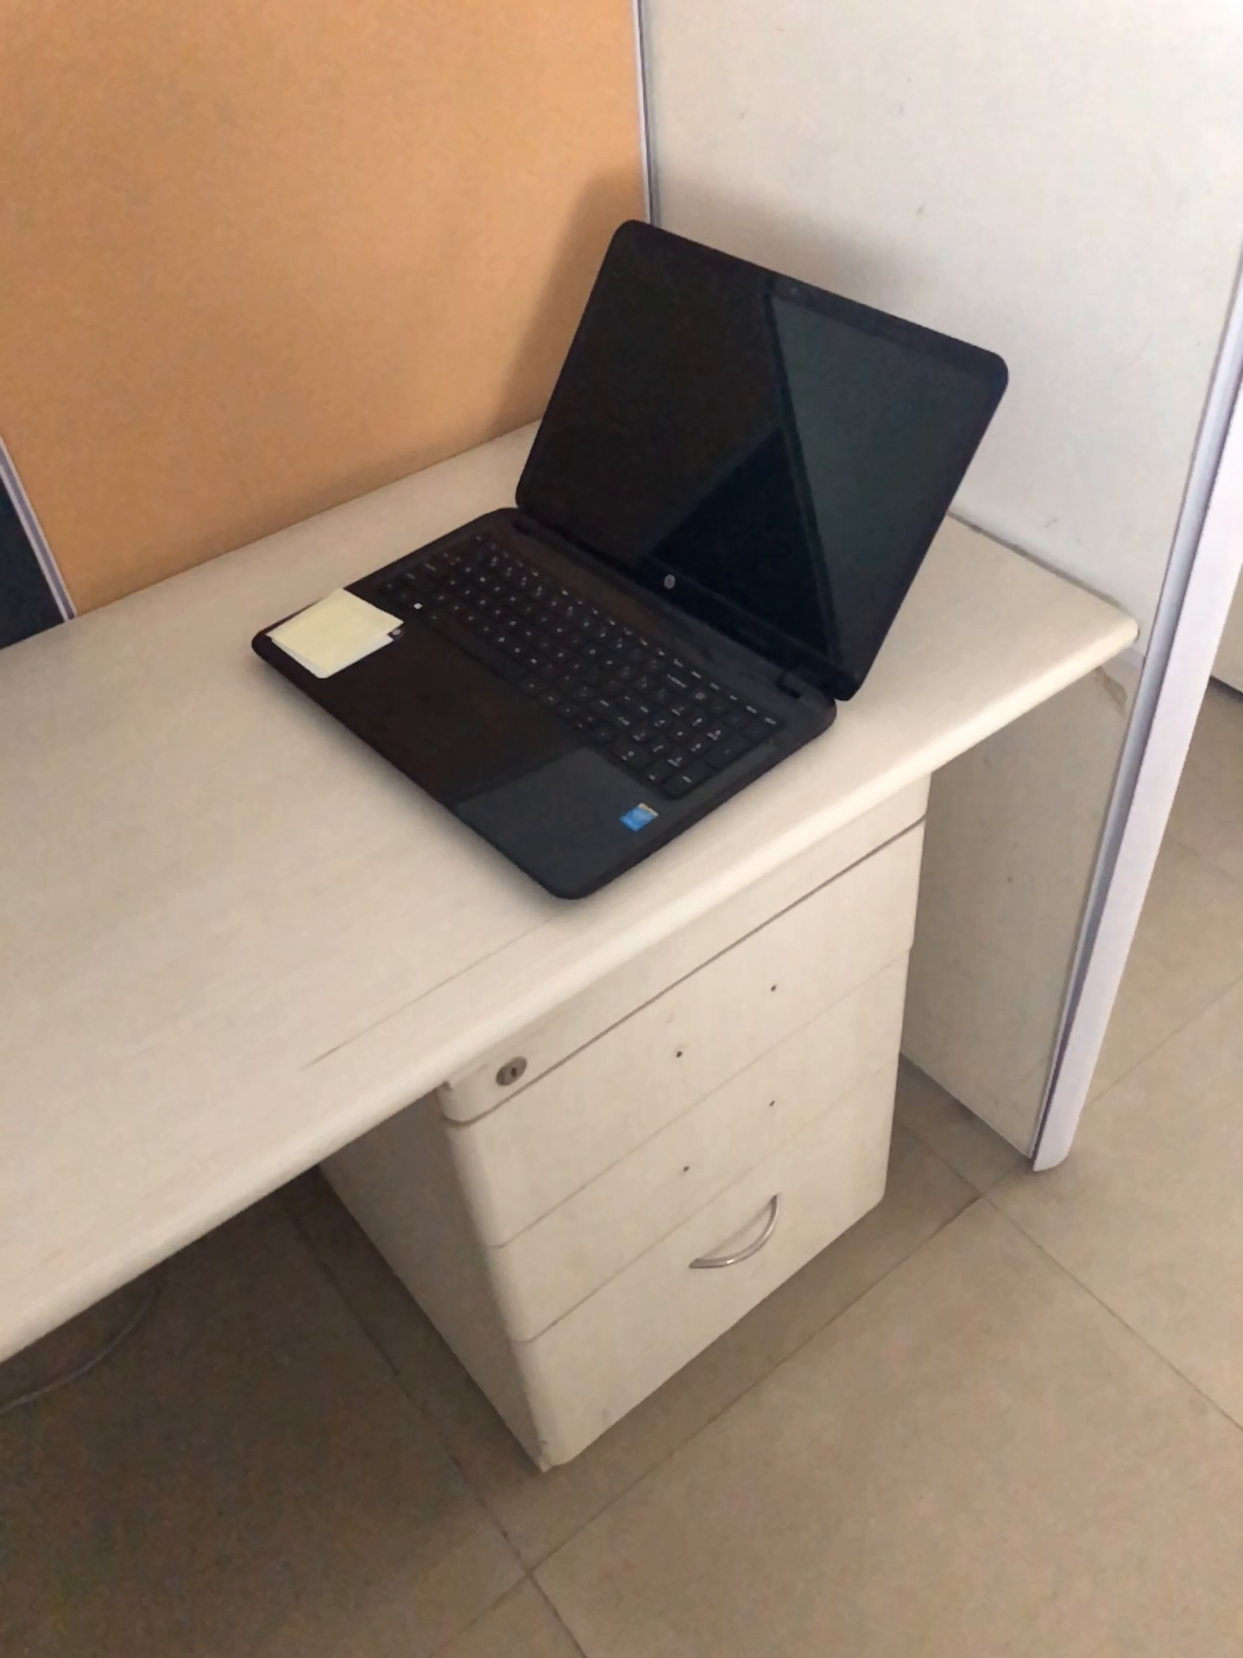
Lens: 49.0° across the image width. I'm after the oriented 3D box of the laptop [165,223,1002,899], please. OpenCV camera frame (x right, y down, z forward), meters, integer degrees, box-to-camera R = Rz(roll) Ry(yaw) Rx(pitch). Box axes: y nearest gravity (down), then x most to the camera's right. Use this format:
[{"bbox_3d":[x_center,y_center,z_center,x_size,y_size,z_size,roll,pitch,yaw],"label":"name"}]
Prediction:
[{"bbox_3d":[-0.023,-0.229,0.996,0.417,0.204,0.392,-34,51,-27],"label":"laptop"}]
